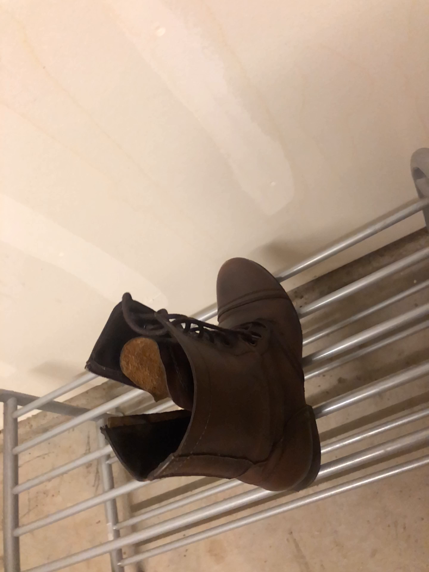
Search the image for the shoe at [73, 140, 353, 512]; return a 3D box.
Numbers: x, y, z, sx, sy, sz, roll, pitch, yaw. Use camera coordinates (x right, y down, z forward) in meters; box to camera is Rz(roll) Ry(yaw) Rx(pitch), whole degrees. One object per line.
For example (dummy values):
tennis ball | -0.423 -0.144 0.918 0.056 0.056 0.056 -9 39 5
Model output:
shoe | -0.003 0.054 0.477 0.122 0.238 0.288 -27 57 25
